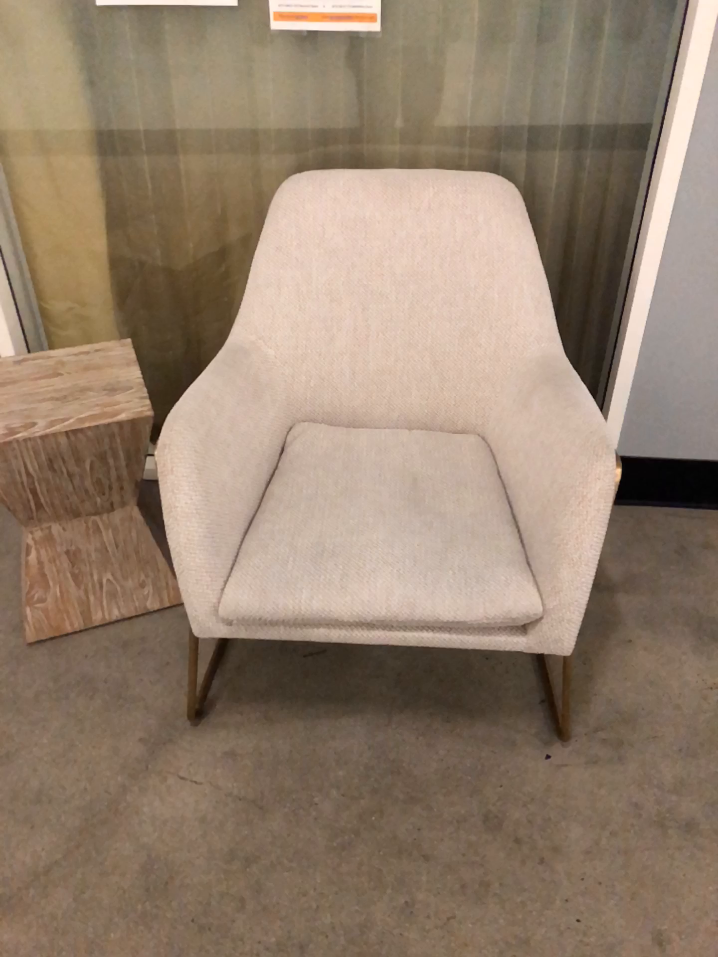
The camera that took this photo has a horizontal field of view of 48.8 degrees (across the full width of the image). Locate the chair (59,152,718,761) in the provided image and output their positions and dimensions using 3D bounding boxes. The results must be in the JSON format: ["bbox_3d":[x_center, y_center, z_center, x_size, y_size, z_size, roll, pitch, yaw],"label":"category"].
[{"bbox_3d":[0.070,-0.104,1.569,0.830,0.816,0.894,2,35,4],"label":"chair"}]
